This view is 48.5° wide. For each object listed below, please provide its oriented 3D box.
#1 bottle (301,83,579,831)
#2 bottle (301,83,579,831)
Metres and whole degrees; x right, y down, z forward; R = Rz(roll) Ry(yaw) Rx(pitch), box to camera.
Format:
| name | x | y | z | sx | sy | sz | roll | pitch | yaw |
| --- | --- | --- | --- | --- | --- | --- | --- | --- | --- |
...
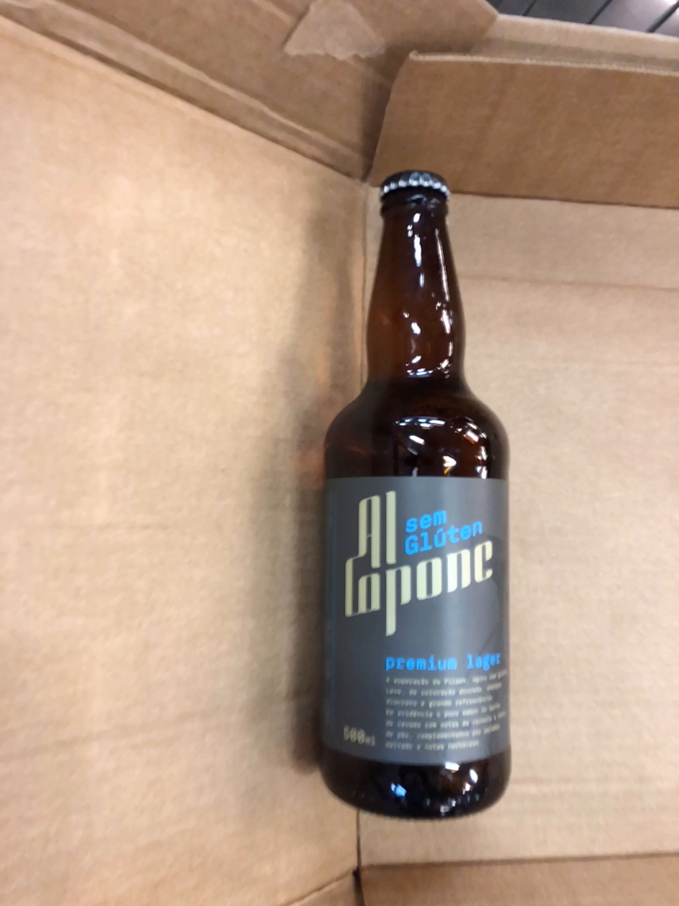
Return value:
| name | x | y | z | sx | sy | sz | roll | pitch | yaw |
| --- | --- | --- | --- | --- | --- | --- | --- | --- | --- |
| bottle | 0.038 | -0.003 | 0.335 | 0.090 | 0.070 | 0.290 | 4 | 78 | -21 |
| bottle | 0.038 | -0.003 | 0.335 | 0.090 | 0.070 | 0.290 | 4 | 78 | -21 |
